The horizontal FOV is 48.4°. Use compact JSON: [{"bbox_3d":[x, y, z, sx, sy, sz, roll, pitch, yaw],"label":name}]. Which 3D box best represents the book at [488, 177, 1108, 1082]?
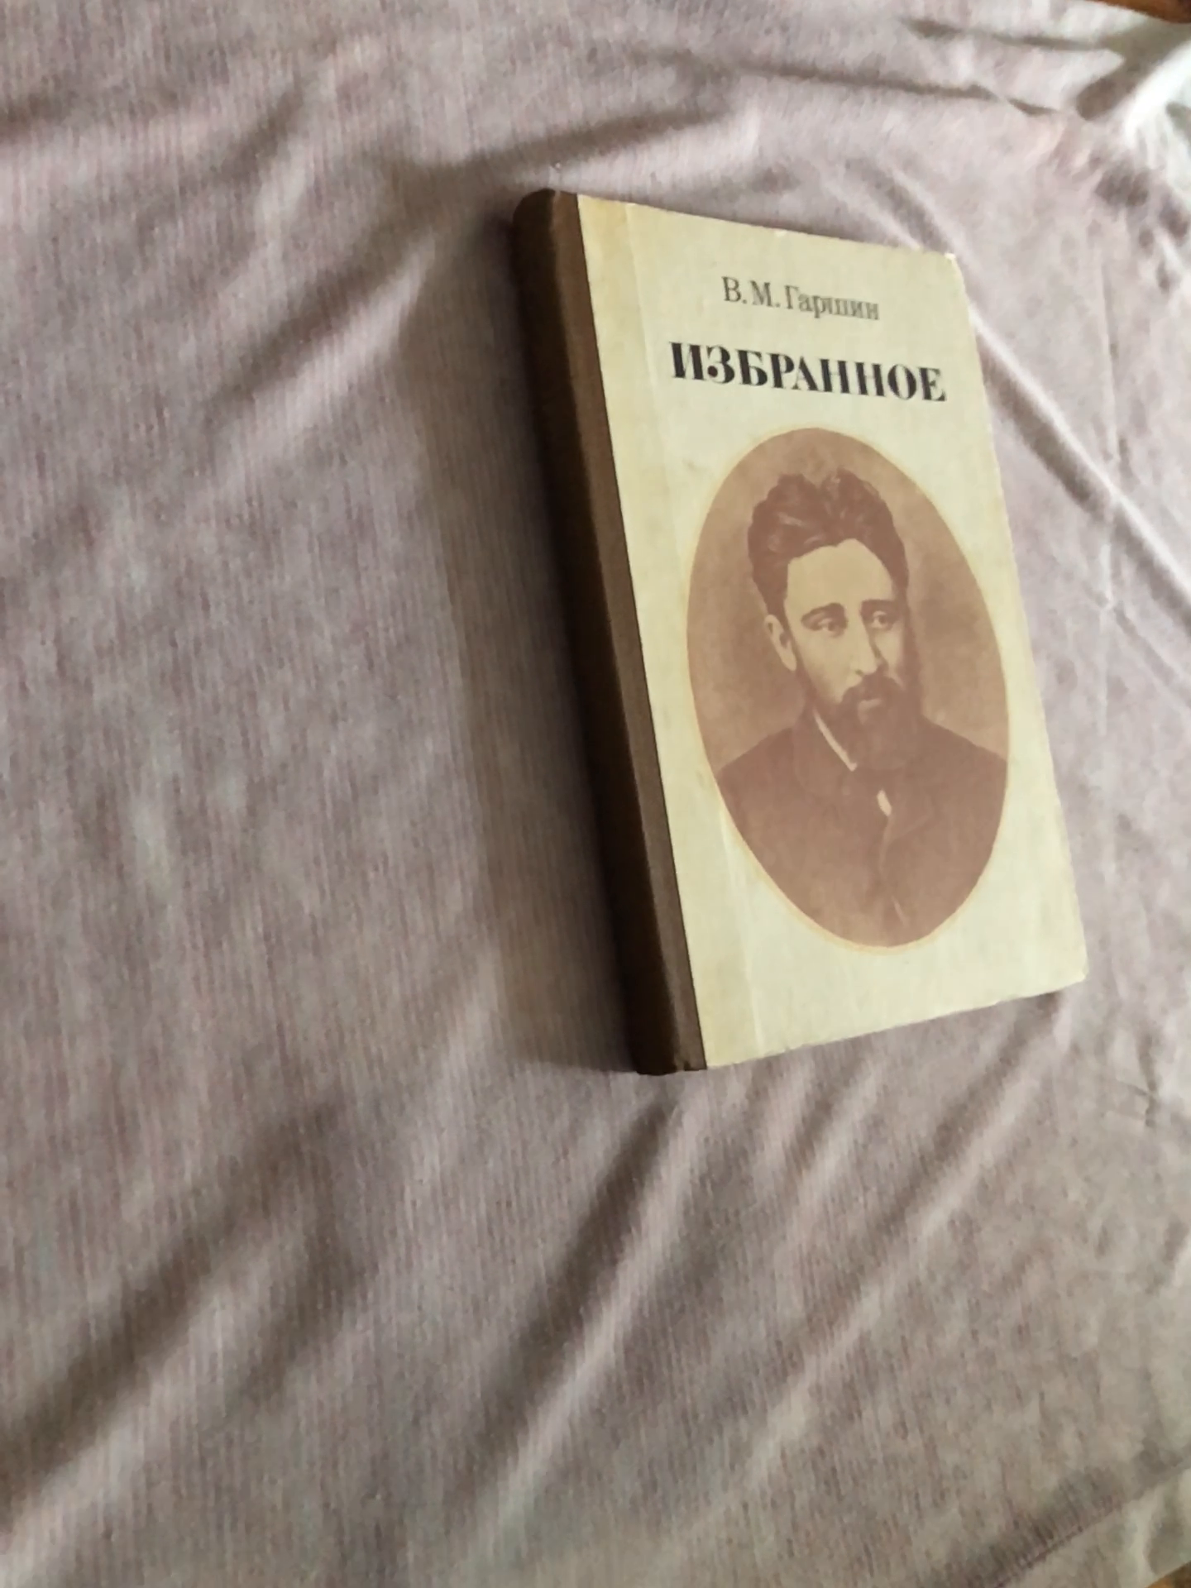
[{"bbox_3d":[0.058,-0.047,0.361,0.142,0.030,0.220,-6,83,-30],"label":"book"}]
